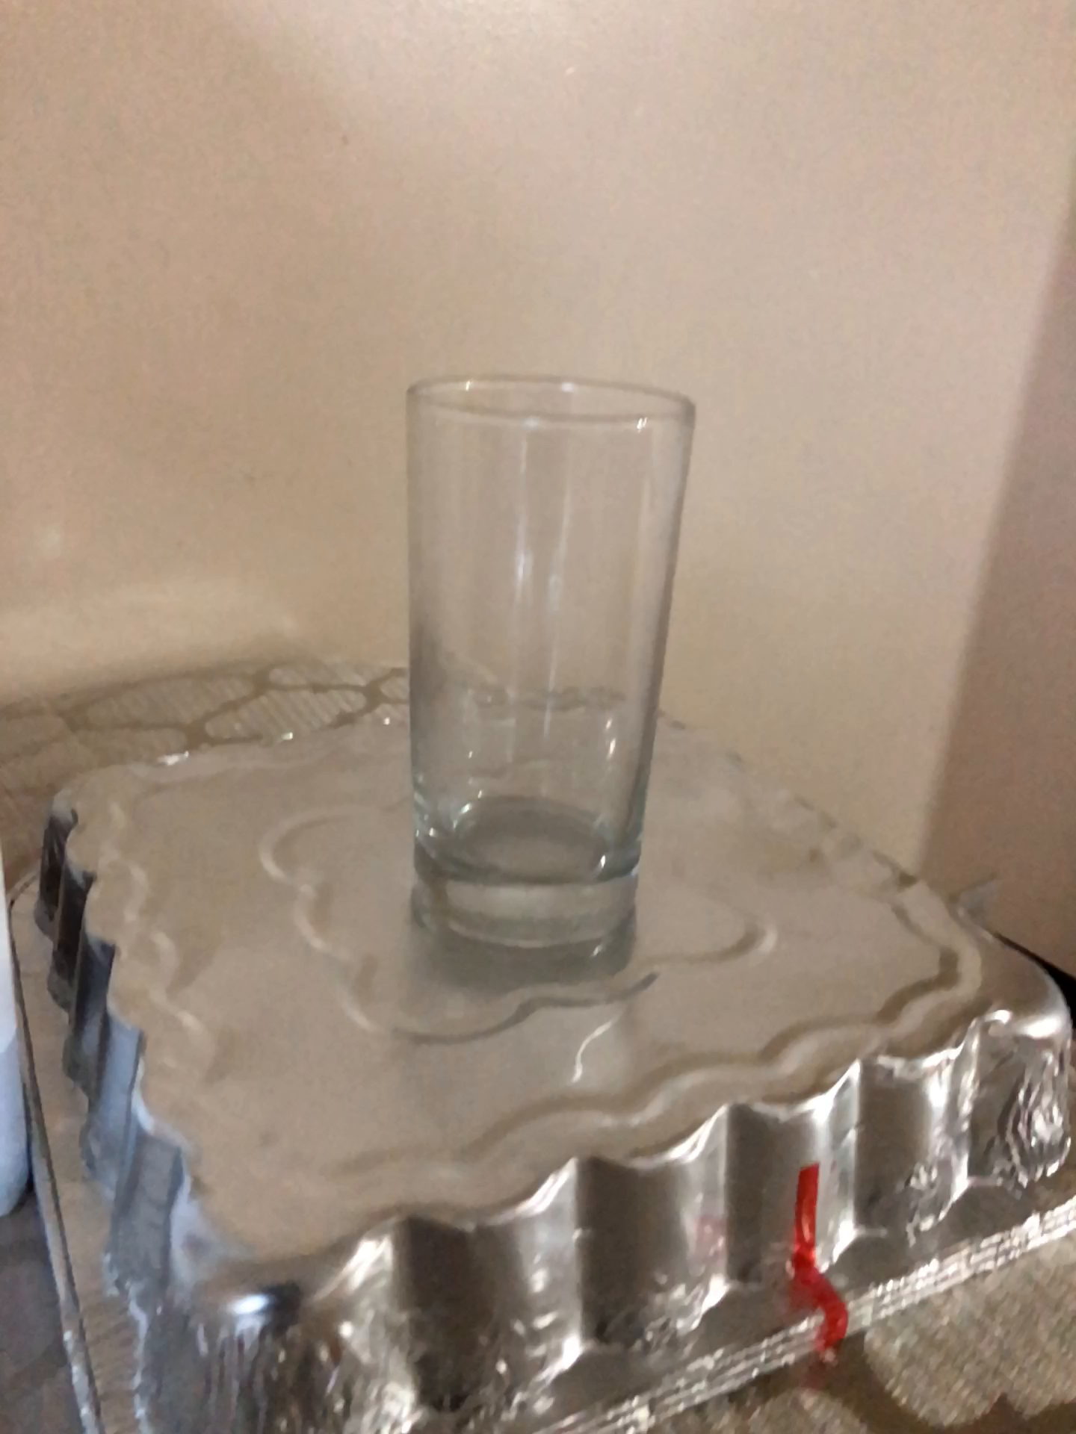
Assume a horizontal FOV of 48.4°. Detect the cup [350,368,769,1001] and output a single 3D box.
[{"bbox_3d":[0.002,-0.012,0.270,0.060,0.119,0.060,5,21,-2],"label":"cup"}]
